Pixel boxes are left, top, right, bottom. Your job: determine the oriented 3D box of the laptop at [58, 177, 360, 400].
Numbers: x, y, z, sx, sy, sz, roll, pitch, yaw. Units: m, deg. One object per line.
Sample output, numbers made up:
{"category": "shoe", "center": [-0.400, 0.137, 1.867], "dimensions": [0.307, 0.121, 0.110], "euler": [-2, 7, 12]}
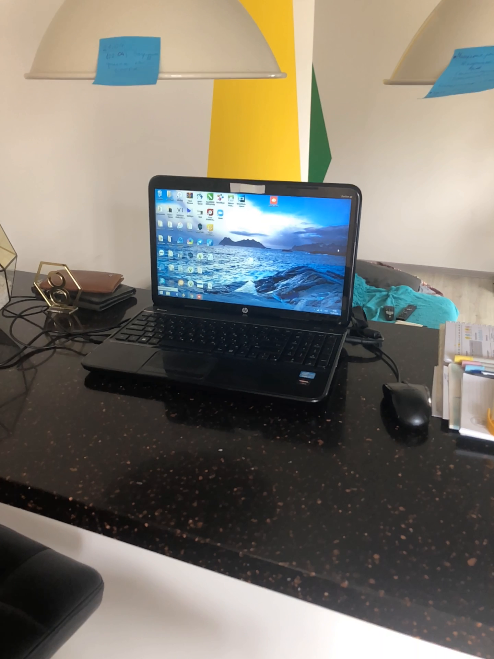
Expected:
{"category": "laptop", "center": [-0.035, -0.088, 0.826], "dimensions": [0.361, 0.217, 0.268], "euler": [7, 26, 17]}
